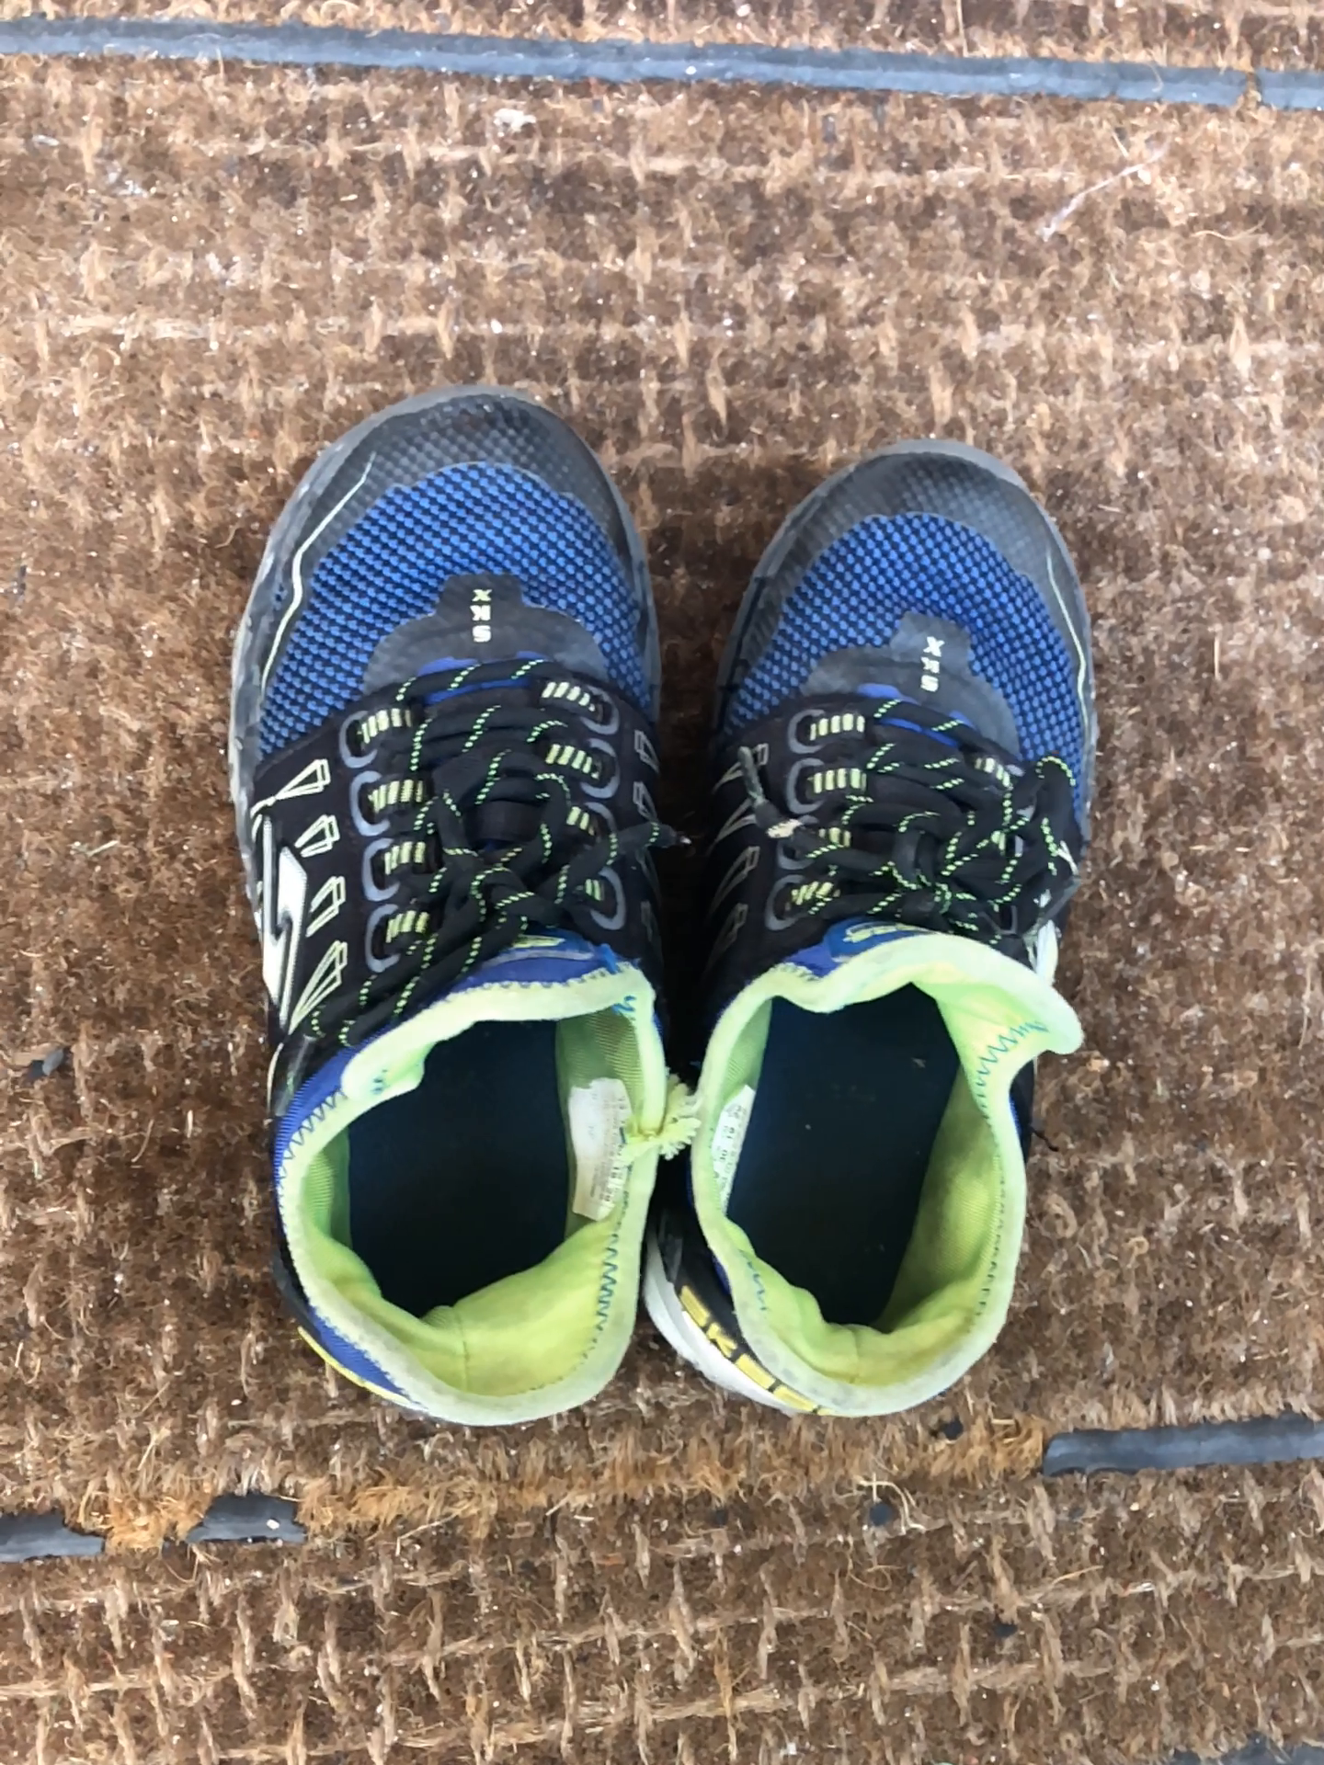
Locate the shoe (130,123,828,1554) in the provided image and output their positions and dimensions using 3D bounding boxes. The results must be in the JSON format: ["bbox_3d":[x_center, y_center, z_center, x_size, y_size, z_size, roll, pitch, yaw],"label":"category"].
[{"bbox_3d":[-0.037,-0.010,0.291,0.090,0.100,0.230,-6,84,-7],"label":"shoe"}]

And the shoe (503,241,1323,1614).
[{"bbox_3d":[0.040,0.008,0.280,0.090,0.100,0.200,15,82,-4],"label":"shoe"}]
